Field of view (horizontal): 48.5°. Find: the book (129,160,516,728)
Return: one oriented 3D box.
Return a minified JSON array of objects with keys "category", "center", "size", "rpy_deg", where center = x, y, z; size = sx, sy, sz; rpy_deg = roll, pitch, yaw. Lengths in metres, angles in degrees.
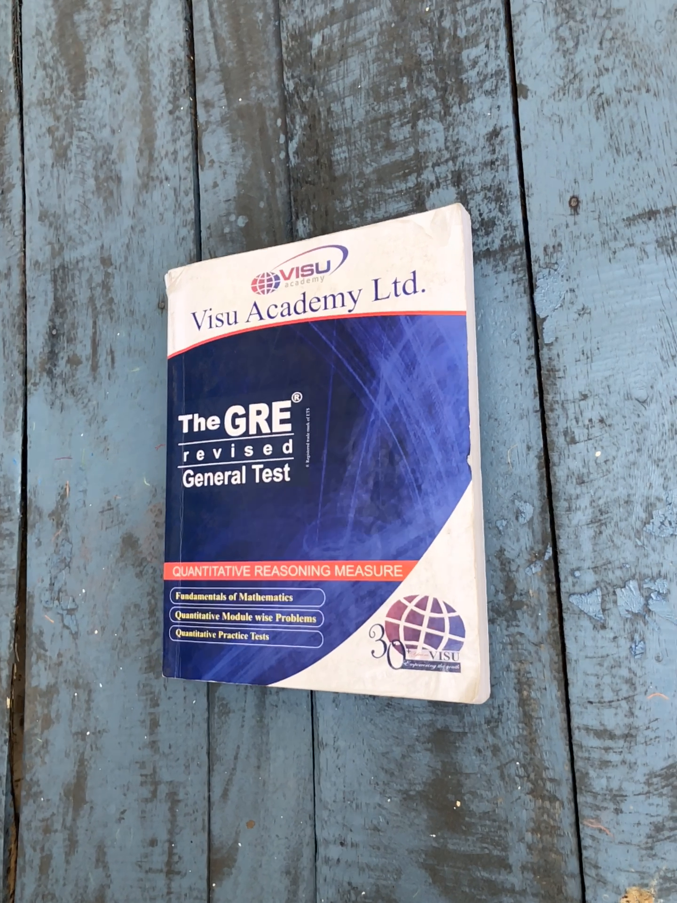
[{"category":"book","center":[-0.014,-0.001,0.455],"size":[0.221,0.060,0.290],"rpy_deg":[-4,79,27]}]
